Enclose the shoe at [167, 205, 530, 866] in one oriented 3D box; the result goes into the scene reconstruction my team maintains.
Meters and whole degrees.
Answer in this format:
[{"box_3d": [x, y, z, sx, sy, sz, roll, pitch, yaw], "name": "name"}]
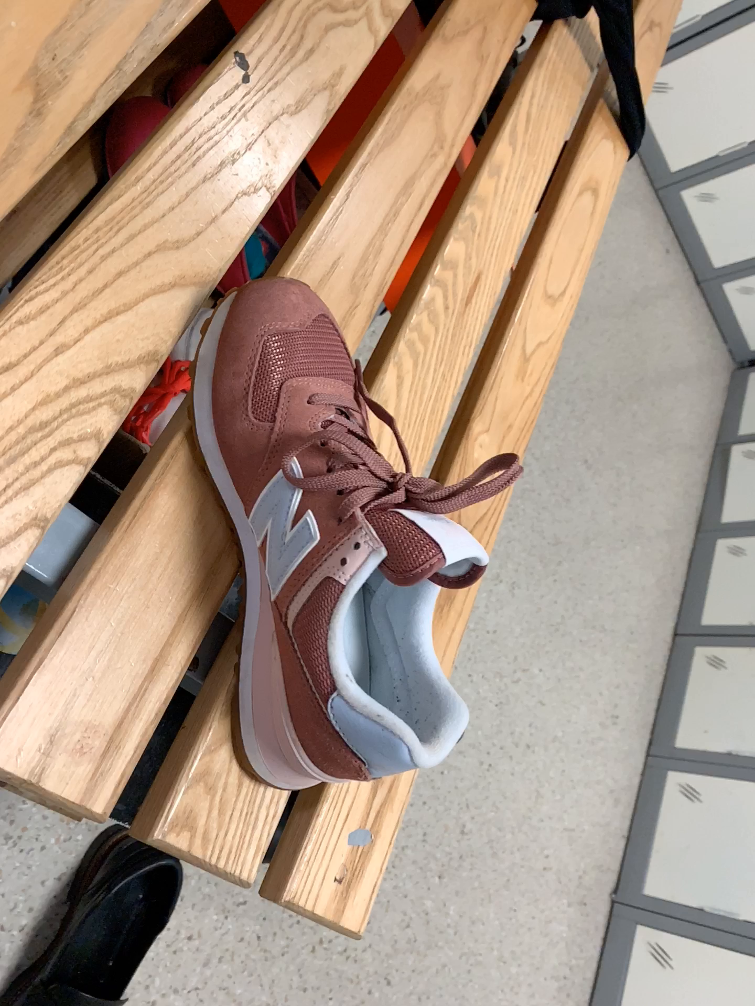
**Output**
[{"box_3d": [-0.015, 0.013, 0.378, 0.110, 0.105, 0.259, -4, 87, -46], "name": "shoe"}]
